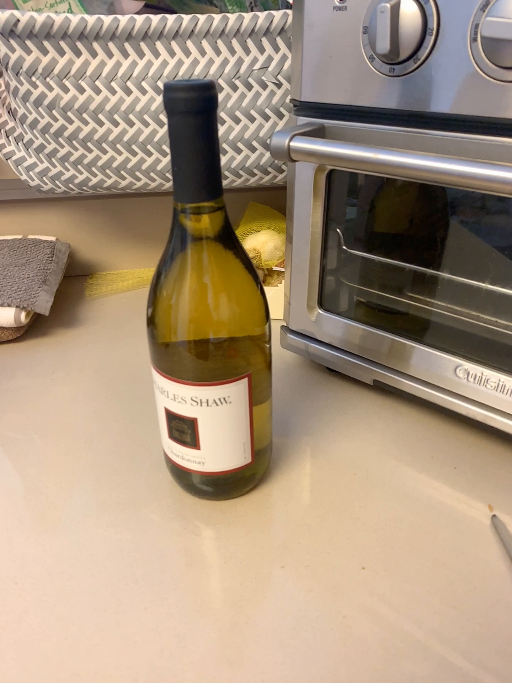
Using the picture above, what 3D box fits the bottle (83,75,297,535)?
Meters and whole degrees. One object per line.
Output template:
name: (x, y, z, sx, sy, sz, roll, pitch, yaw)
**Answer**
bottle: (-0.030, -0.013, 0.329, 0.080, 0.268, 0.070, 20, 36, 32)
